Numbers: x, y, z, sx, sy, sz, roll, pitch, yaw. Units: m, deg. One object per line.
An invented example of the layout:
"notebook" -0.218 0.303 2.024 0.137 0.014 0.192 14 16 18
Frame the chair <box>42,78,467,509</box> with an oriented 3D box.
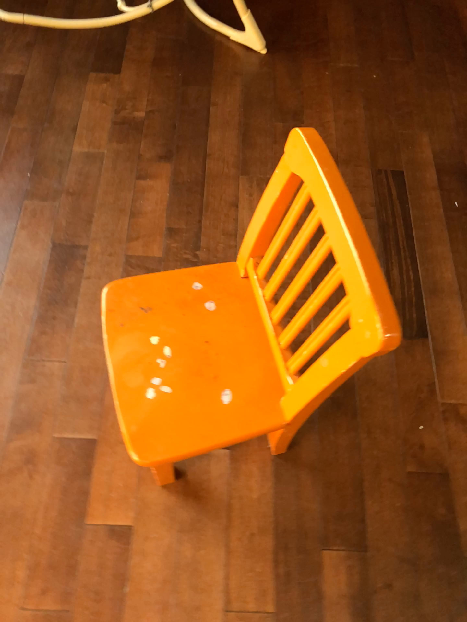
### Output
"chair" -0.015 0.036 0.775 0.350 0.569 0.360 -12 64 -9
